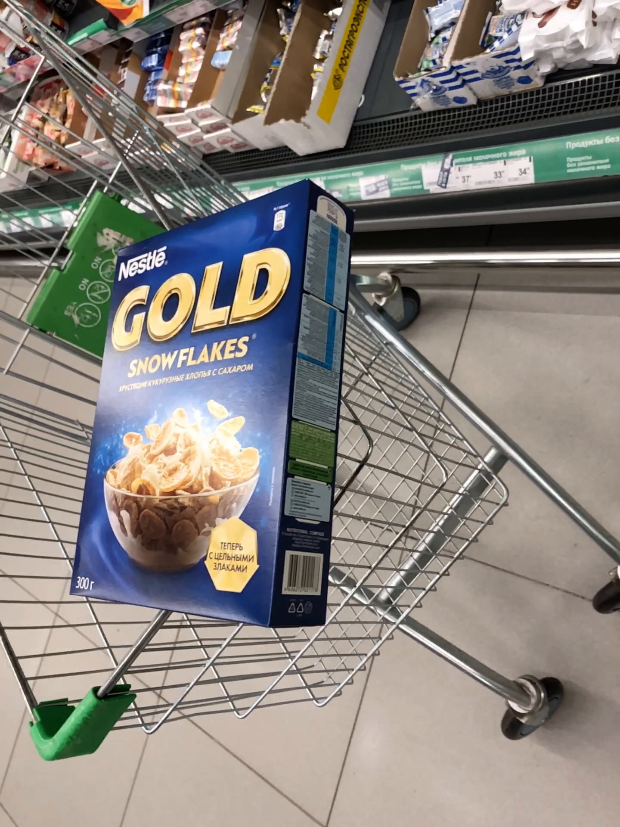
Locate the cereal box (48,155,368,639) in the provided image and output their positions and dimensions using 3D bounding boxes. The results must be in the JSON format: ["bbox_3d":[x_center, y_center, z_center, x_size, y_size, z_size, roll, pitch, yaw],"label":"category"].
[{"bbox_3d":[-0.069,-0.007,0.446,0.201,0.050,0.270,-5,73,36],"label":"cereal box"}]
